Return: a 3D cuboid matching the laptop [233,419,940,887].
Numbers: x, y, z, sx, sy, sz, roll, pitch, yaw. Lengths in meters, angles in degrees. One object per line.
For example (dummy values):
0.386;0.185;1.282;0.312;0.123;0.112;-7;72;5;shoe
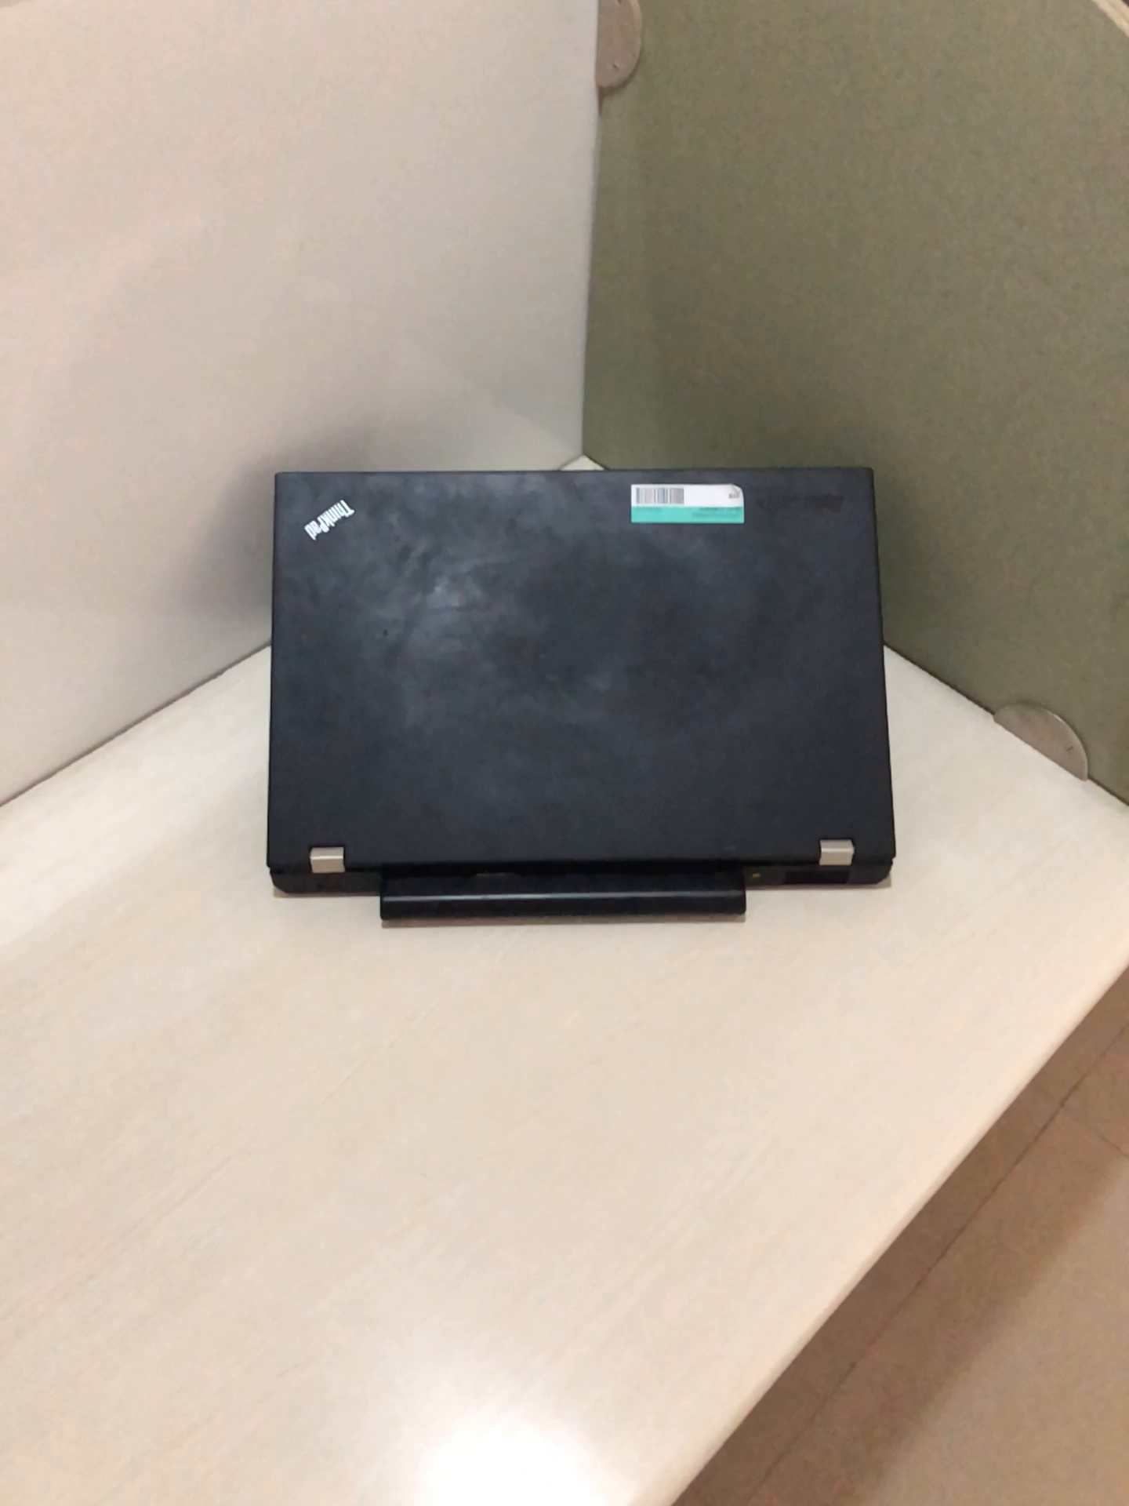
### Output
0.009;-0.064;0.746;0.354;0.140;0.233;-1;52;0;laptop
